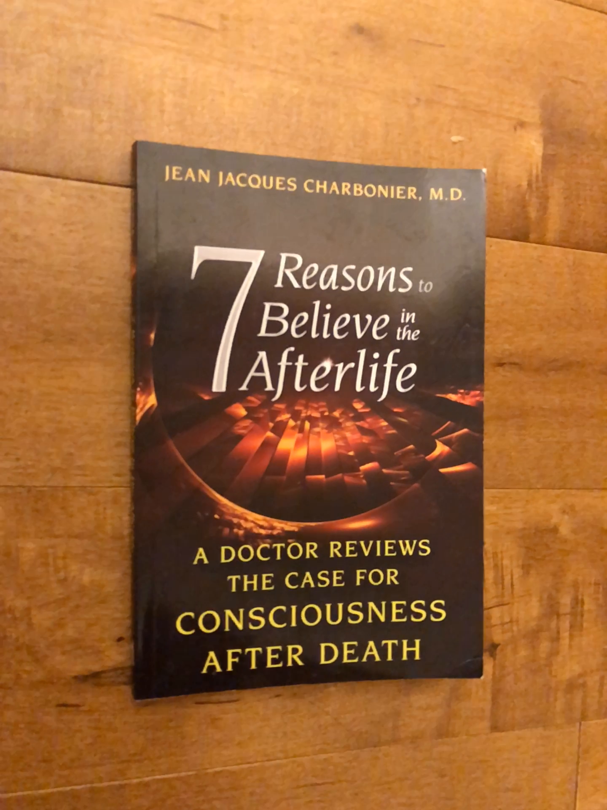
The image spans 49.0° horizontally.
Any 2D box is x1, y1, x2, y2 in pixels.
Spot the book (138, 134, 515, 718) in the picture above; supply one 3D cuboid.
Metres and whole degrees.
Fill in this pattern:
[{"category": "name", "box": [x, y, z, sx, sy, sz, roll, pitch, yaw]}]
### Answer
[{"category": "book", "box": [0.011, 0.011, 0.316, 0.170, 0.030, 0.250, 1, 91, -11]}]
